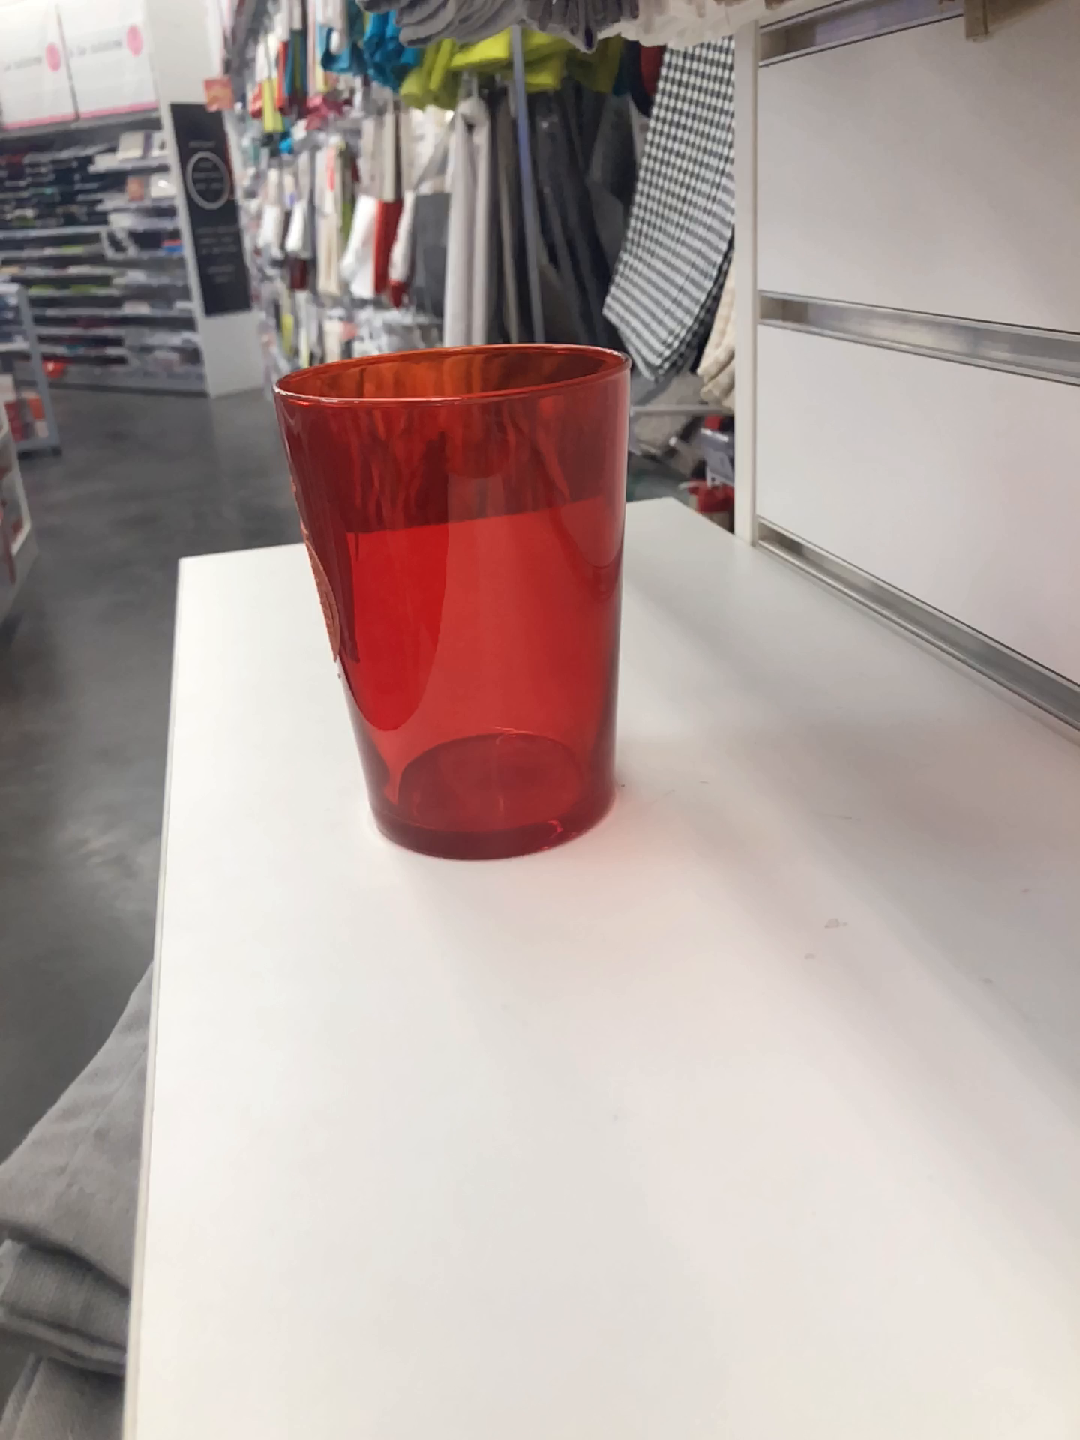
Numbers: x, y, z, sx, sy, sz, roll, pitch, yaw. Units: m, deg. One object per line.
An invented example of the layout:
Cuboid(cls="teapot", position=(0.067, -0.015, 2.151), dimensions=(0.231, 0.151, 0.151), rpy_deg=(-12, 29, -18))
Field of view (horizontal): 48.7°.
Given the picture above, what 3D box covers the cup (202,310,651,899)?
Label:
Cuboid(cls="cup", position=(-0.031, -0.037, 0.315), dimensions=(0.091, 0.121, 0.092), rpy_deg=(-3, 25, 1))
